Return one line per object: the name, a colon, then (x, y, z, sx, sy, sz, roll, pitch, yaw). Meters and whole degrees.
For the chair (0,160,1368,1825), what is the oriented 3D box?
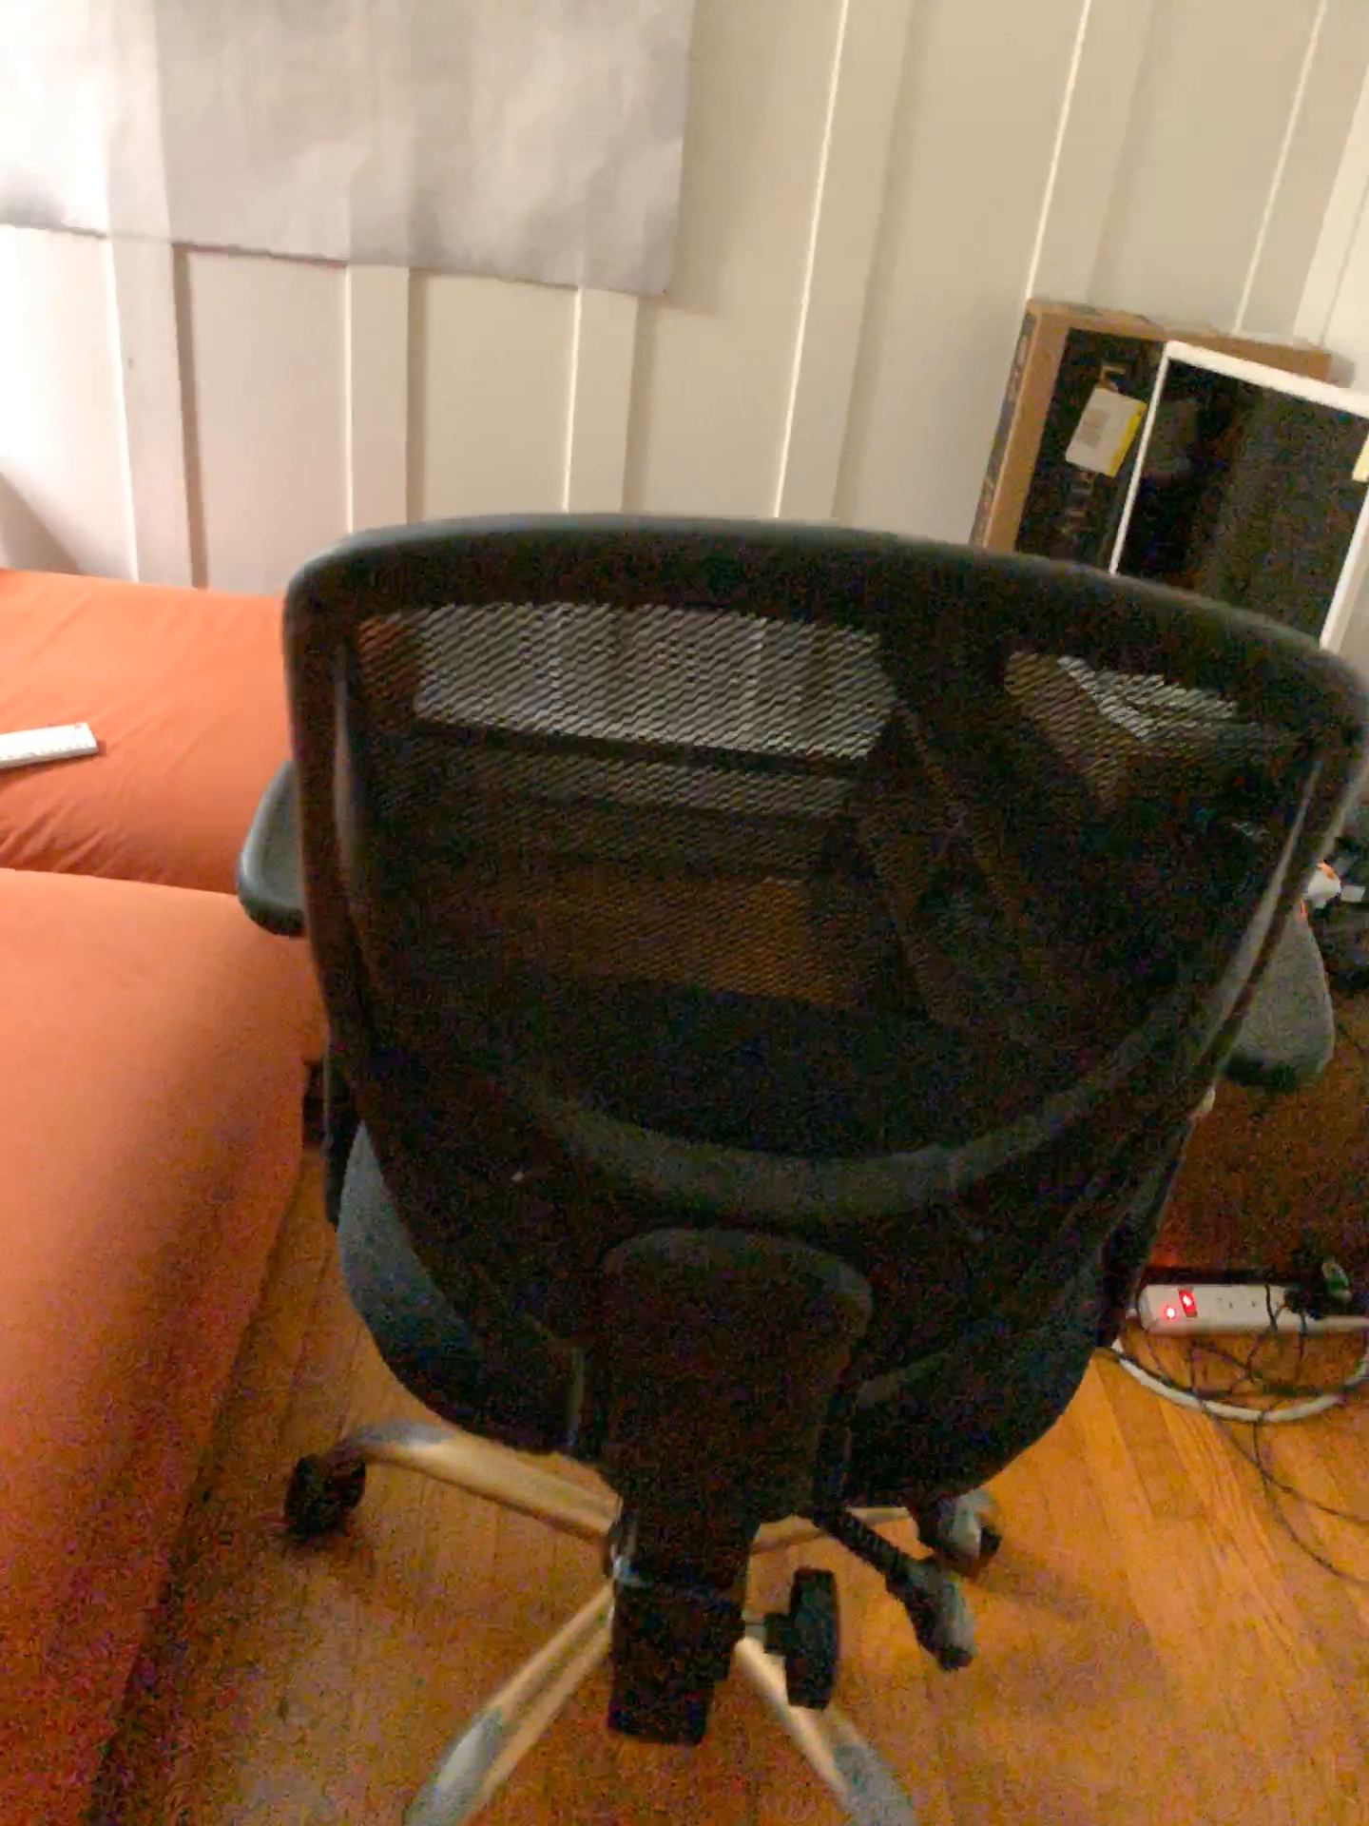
chair: (0.024, 0.133, 0.895, 0.640, 0.974, 0.664, 9, 33, 4)
